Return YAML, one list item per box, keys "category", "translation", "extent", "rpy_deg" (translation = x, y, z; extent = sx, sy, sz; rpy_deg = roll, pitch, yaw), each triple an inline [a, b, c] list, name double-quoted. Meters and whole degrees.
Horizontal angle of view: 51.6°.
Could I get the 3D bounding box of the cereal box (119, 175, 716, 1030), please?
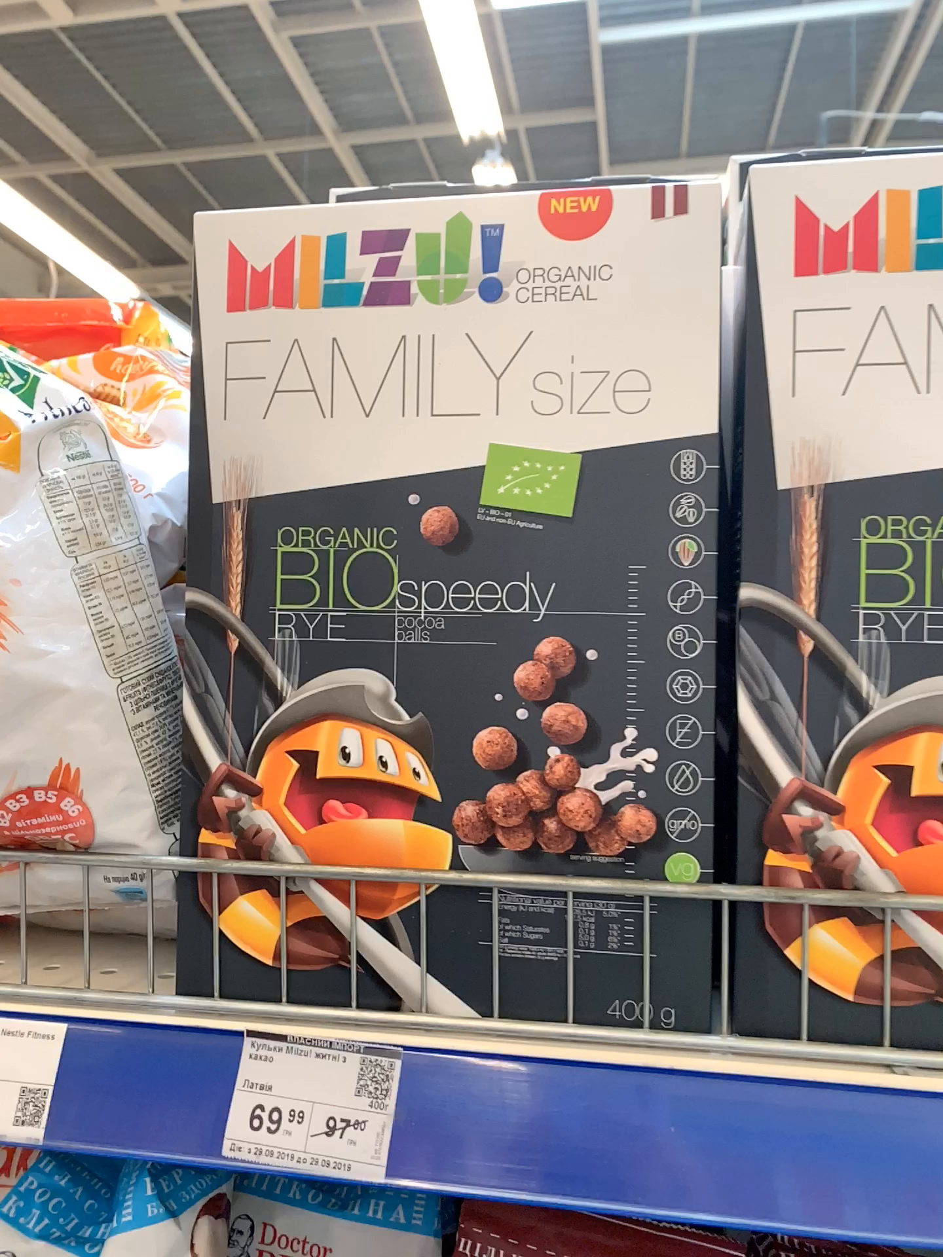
- category: "cereal box"
  translation: [-0.017, -0.010, 0.363]
  extent: [0.200, 0.270, 0.080]
  rpy_deg: [1, 1, 9]
